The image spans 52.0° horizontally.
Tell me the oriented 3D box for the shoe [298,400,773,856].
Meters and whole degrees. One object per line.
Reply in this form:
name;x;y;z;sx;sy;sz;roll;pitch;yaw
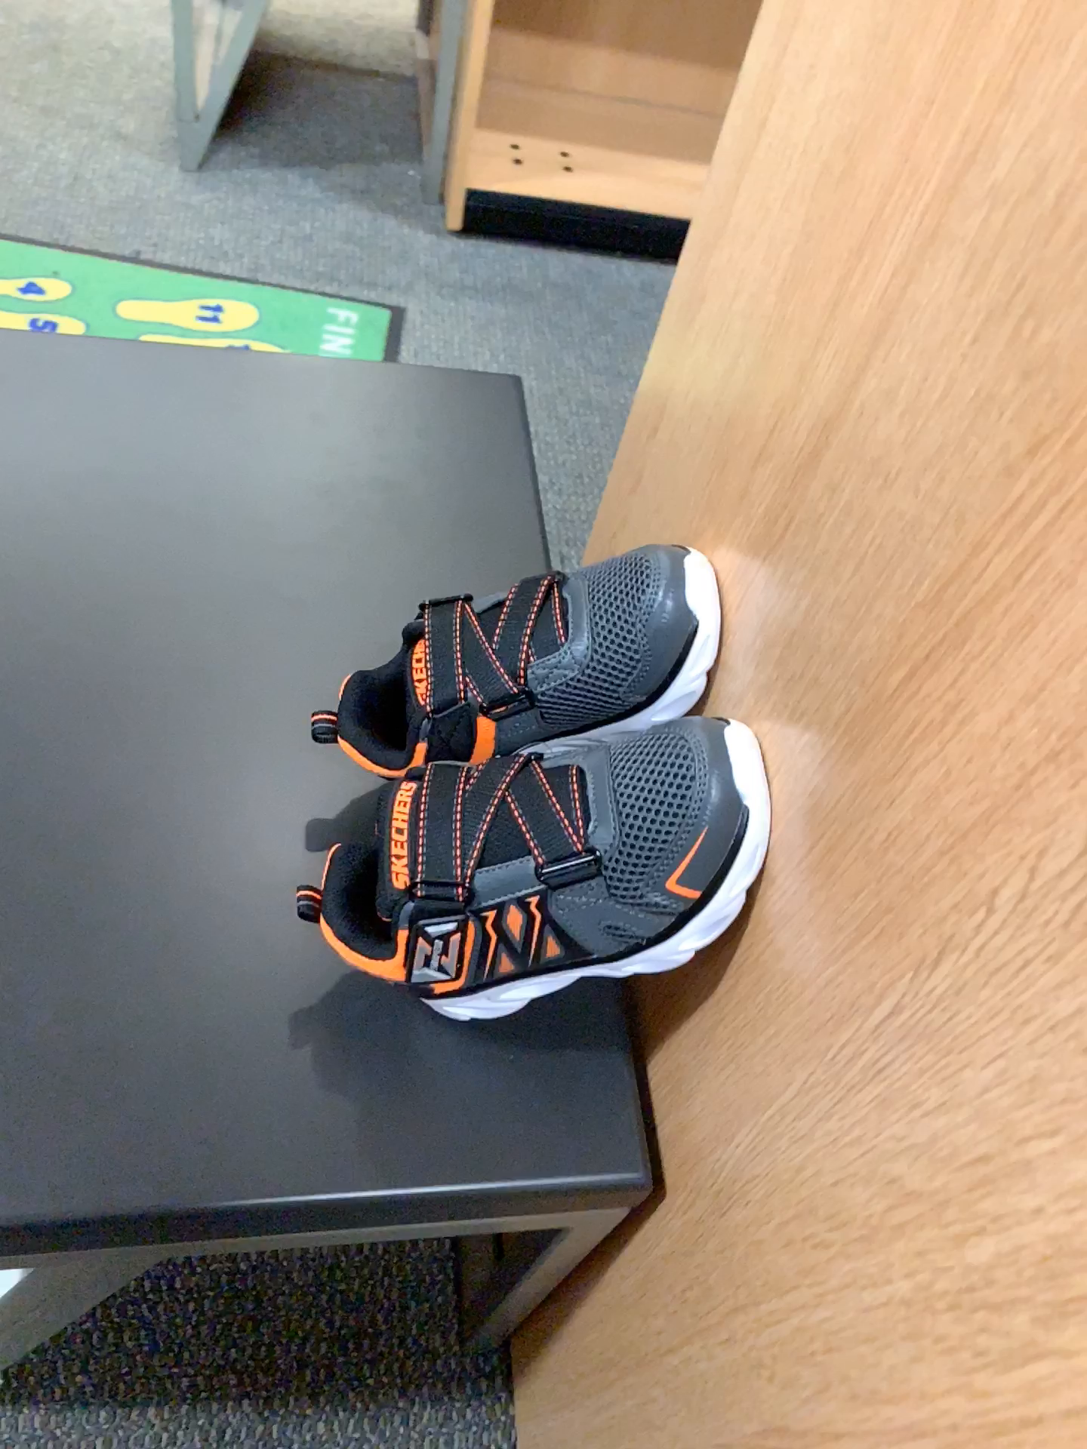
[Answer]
shoe;-0.010;-0.032;0.490;0.100;0.179;0.090;29;42;-37

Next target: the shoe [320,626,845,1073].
shoe;0.008;0.061;0.450;0.100;0.179;0.090;29;42;-37
